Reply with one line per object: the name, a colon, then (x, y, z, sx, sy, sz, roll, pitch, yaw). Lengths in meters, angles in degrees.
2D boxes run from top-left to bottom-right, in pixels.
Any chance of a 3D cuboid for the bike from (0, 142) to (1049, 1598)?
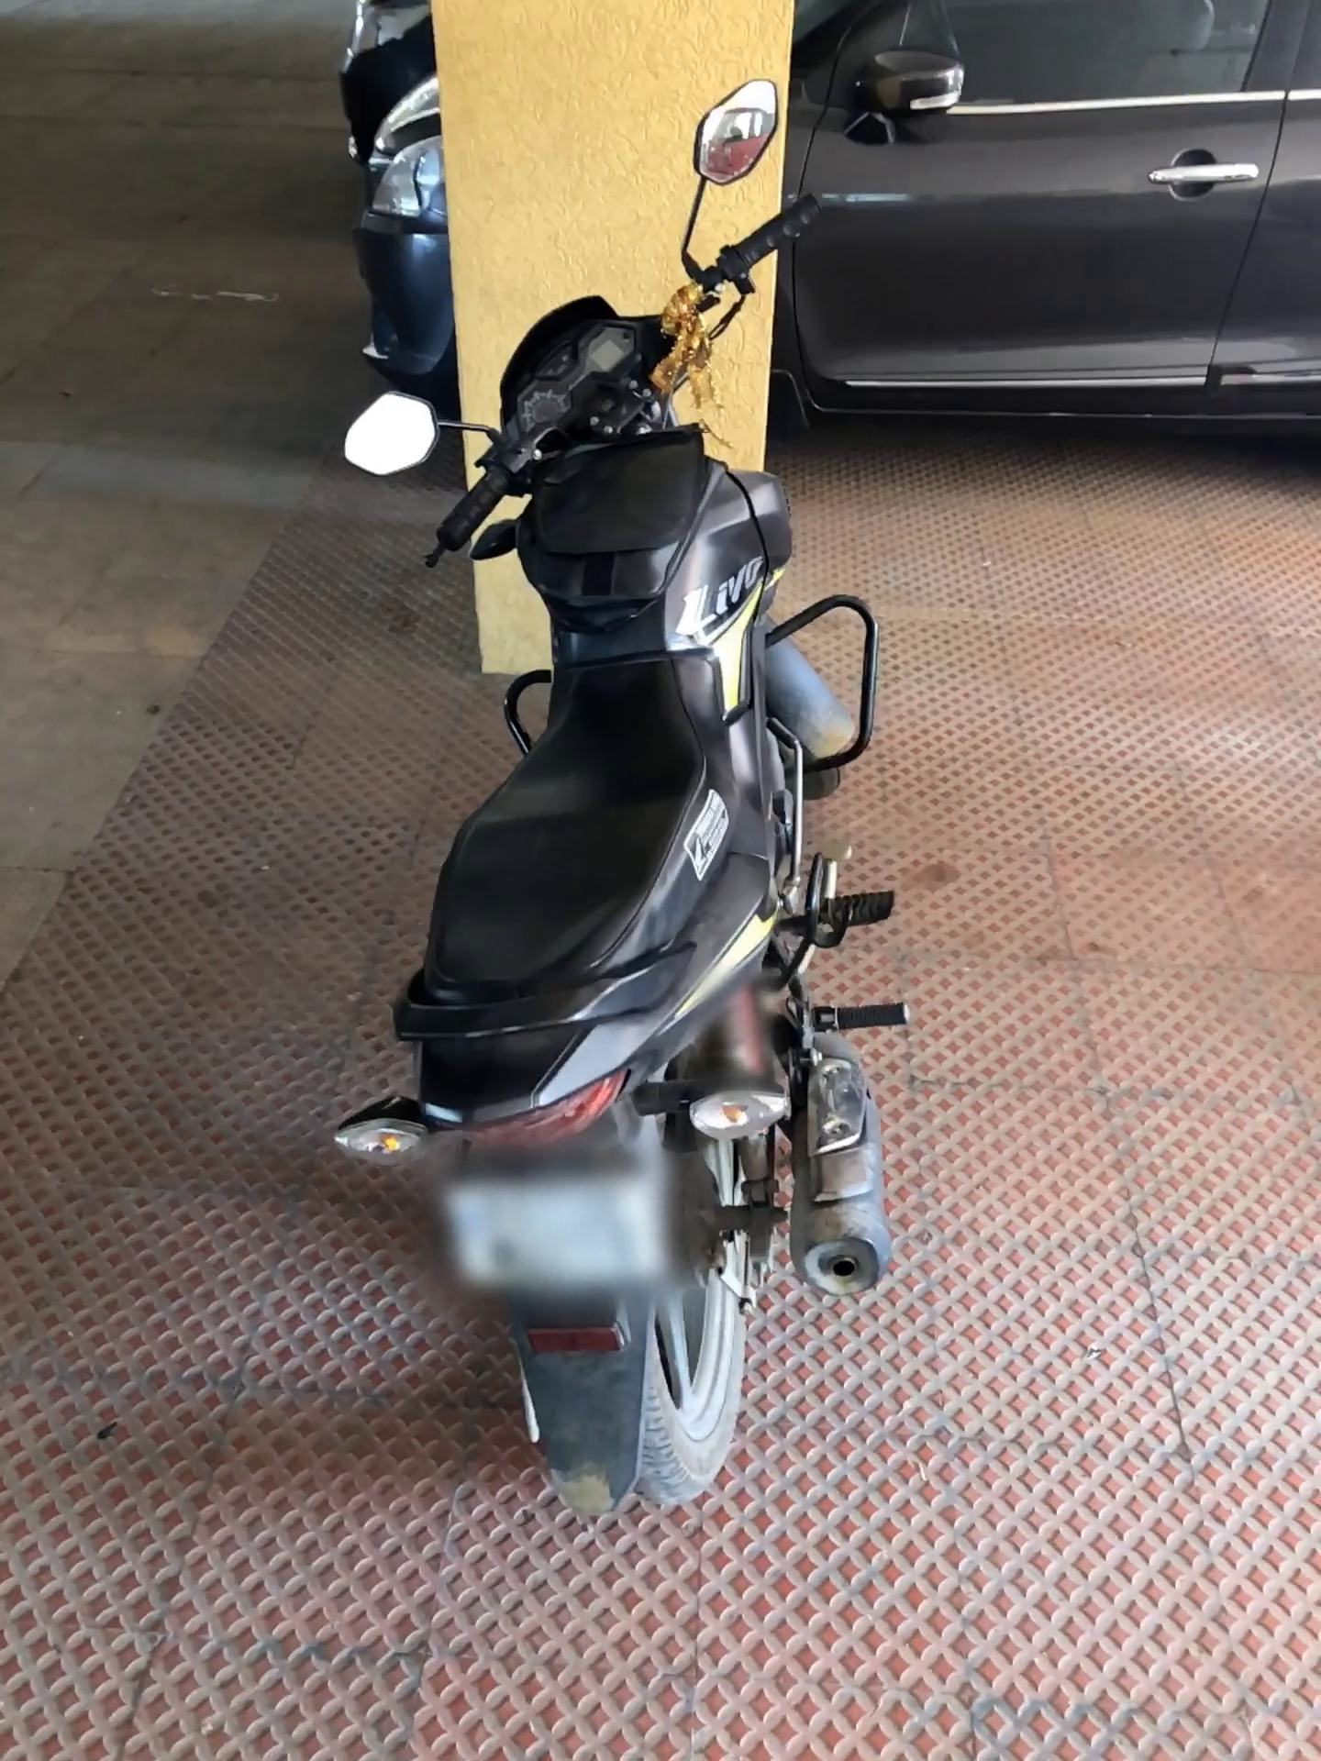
bike: (-0.056, -0.159, 1.882, 0.716, 1.088, 1.630, 3, 40, 3)
